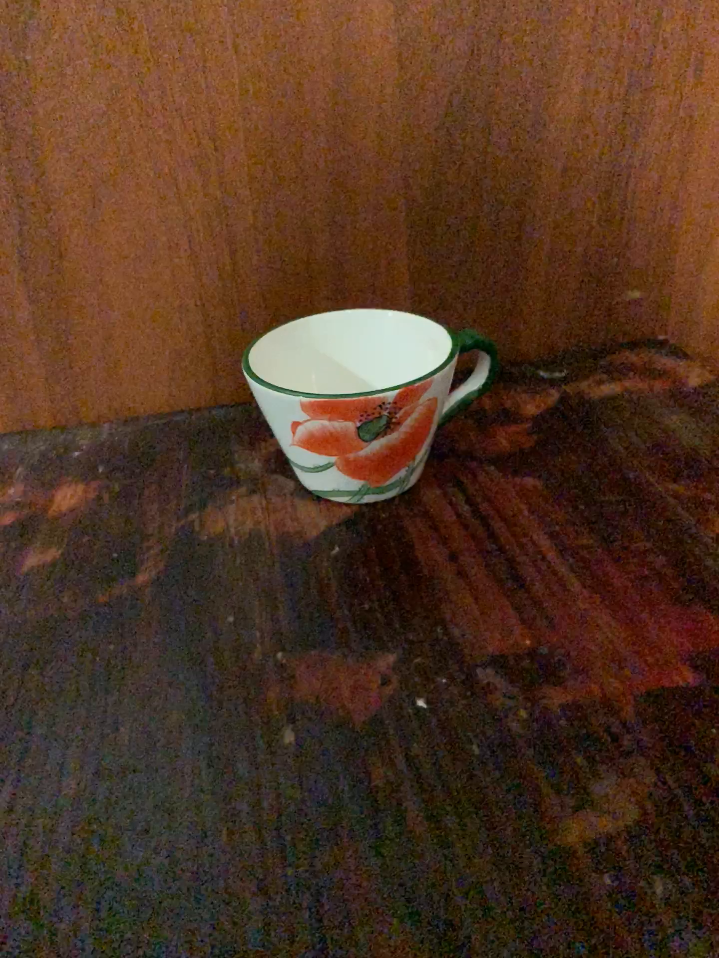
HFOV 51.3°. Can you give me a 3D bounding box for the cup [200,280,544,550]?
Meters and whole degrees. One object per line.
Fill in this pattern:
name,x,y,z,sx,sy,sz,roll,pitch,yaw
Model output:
cup,0.003,-0.029,0.268,0.094,0.045,0.076,-19,36,-19
